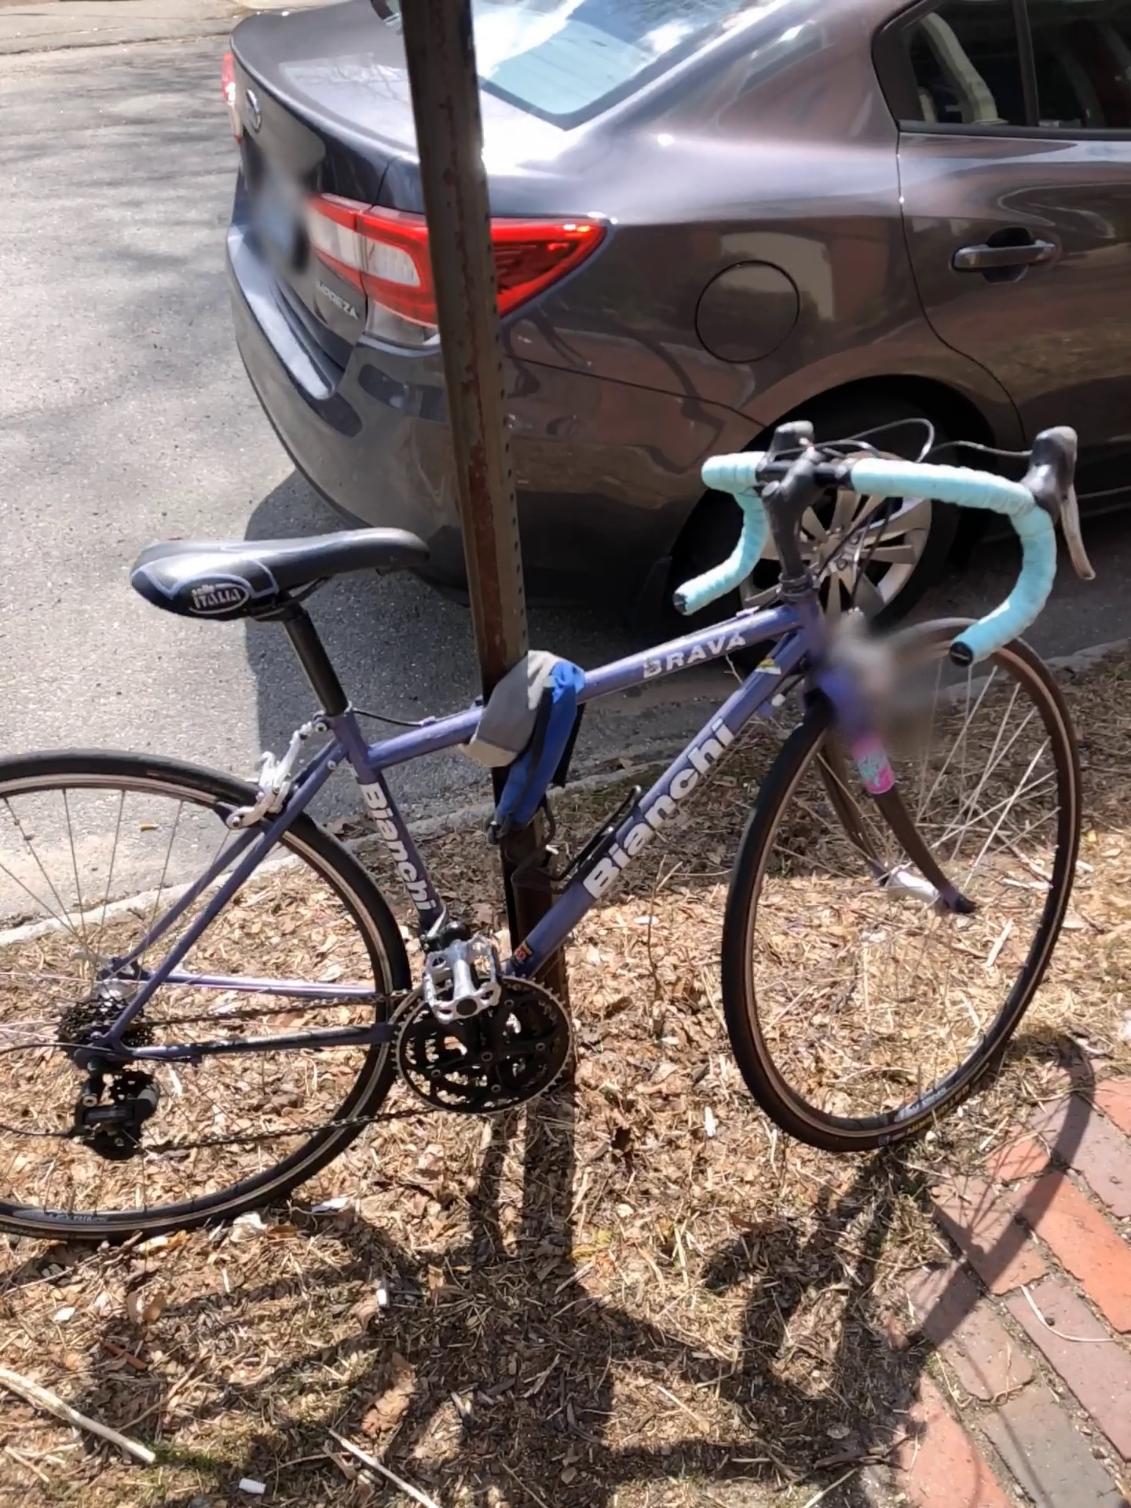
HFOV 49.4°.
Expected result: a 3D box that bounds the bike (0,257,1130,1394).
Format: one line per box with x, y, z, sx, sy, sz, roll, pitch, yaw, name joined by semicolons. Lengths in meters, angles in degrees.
-0.098;0.045;1.379;1.448;0.734;0.462;-14;35;-8;bike
